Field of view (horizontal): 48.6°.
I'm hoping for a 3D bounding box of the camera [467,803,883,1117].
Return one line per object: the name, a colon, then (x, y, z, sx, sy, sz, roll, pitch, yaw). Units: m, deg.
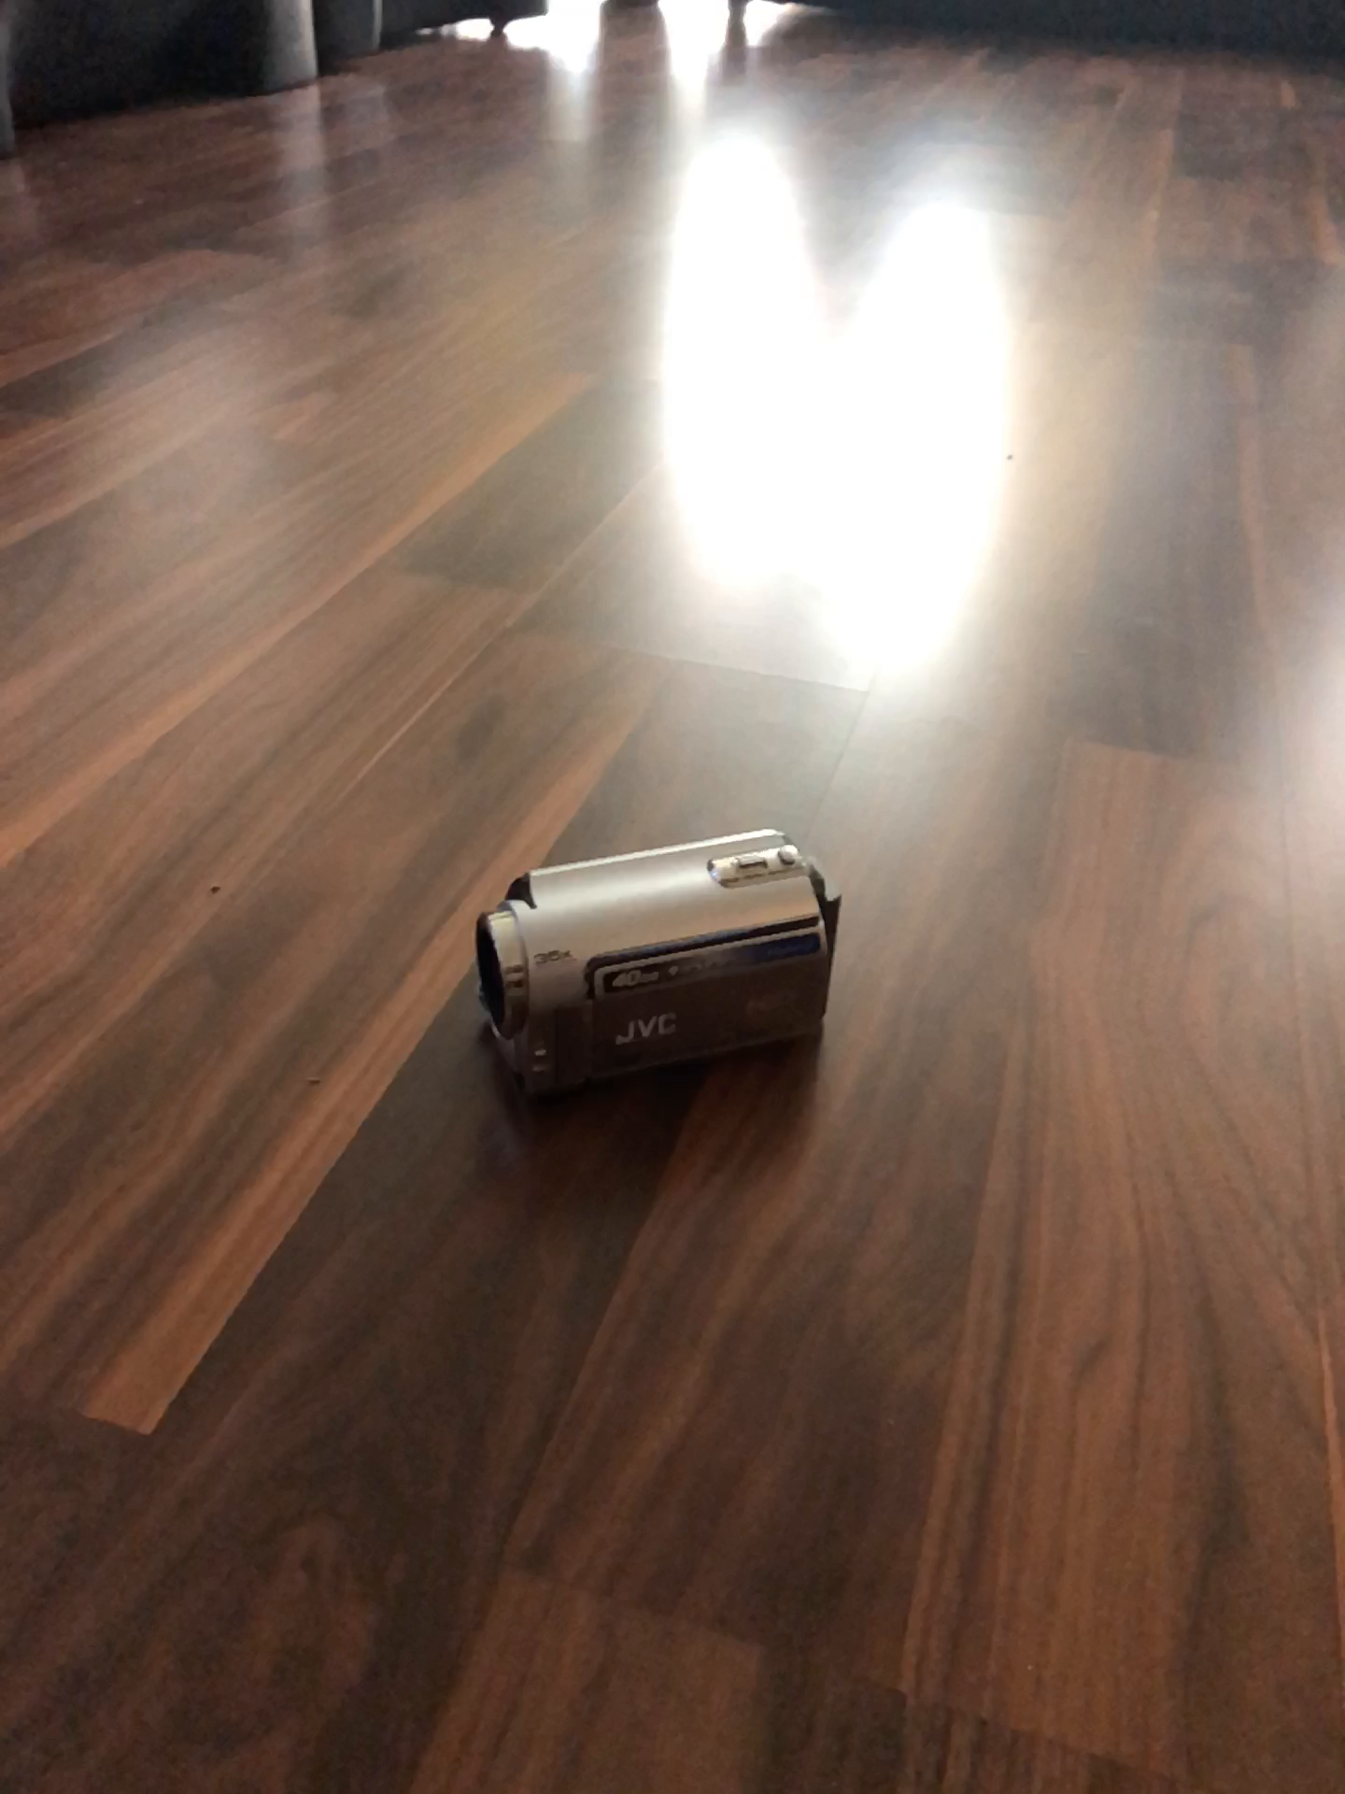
camera: (-0.001, 0.018, 0.493, 0.120, 0.060, 0.060, -10, 37, -17)
